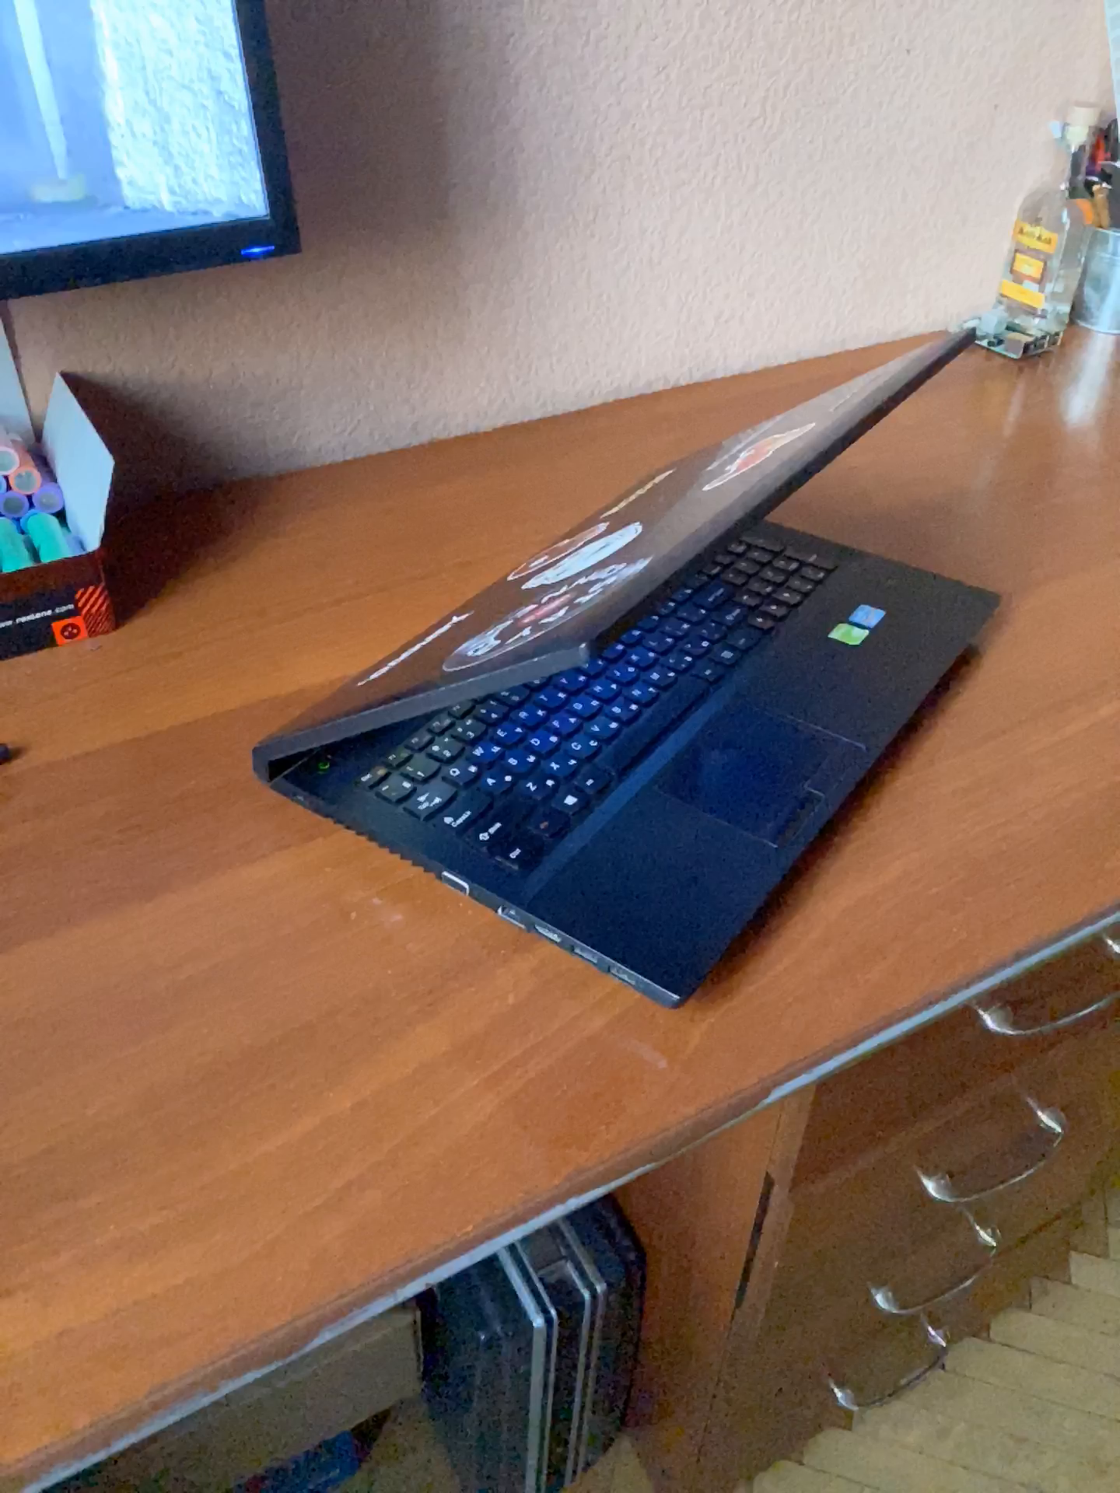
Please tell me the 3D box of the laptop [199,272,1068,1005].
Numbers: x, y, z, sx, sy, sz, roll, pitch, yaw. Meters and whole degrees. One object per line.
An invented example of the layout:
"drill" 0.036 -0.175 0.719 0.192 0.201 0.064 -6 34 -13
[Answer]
"laptop" 0.059 -0.098 0.593 0.256 0.149 0.378 25 45 26
